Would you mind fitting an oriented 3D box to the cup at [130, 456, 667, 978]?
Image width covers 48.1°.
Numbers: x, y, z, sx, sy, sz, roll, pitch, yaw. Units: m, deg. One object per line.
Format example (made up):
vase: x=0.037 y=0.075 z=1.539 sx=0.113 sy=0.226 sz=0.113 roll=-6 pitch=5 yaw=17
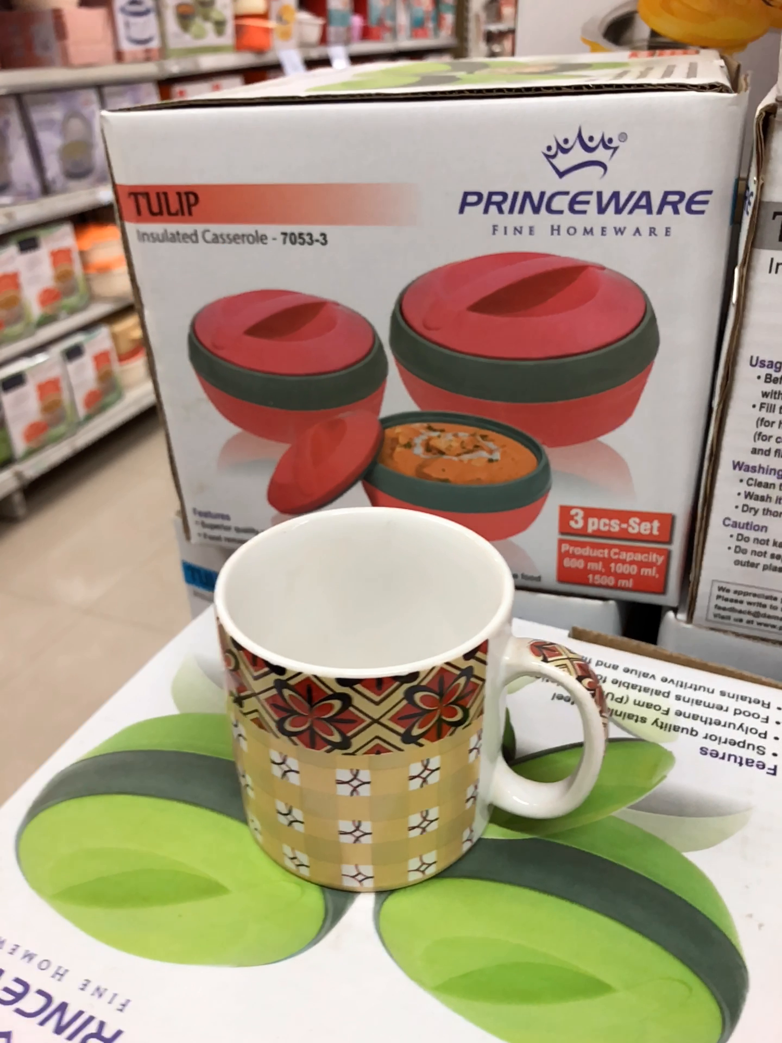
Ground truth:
cup: x=0.007 y=0.043 z=0.235 sx=0.110 sy=0.079 sz=0.081 roll=11 pitch=31 yaw=20
